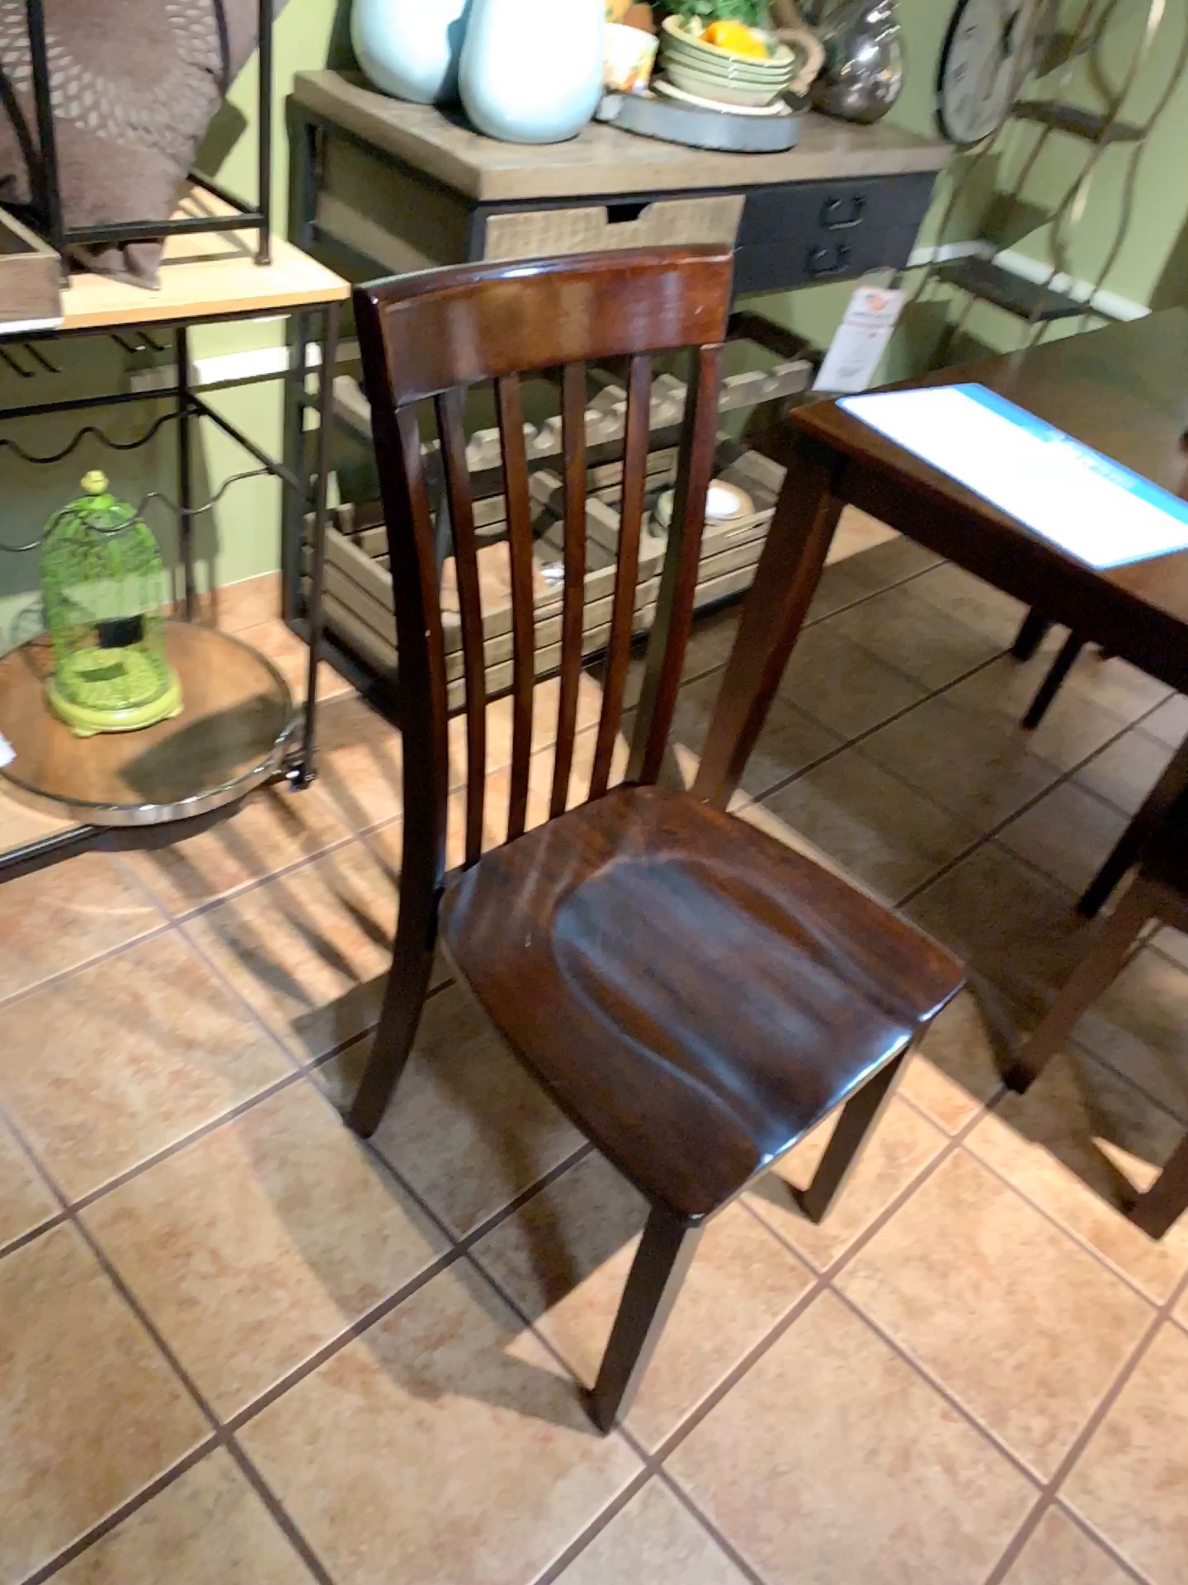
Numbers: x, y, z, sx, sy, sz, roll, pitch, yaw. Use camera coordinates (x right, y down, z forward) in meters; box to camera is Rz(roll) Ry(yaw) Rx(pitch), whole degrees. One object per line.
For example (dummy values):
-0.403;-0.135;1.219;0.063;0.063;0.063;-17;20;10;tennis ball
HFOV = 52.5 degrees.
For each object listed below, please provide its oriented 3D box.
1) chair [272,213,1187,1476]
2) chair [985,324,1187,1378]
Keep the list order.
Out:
0.070;0.060;1.139;0.585;0.936;0.463;38;46;27;chair
0.976;0.082;1.369;0.575;0.946;0.463;34;43;22;chair
